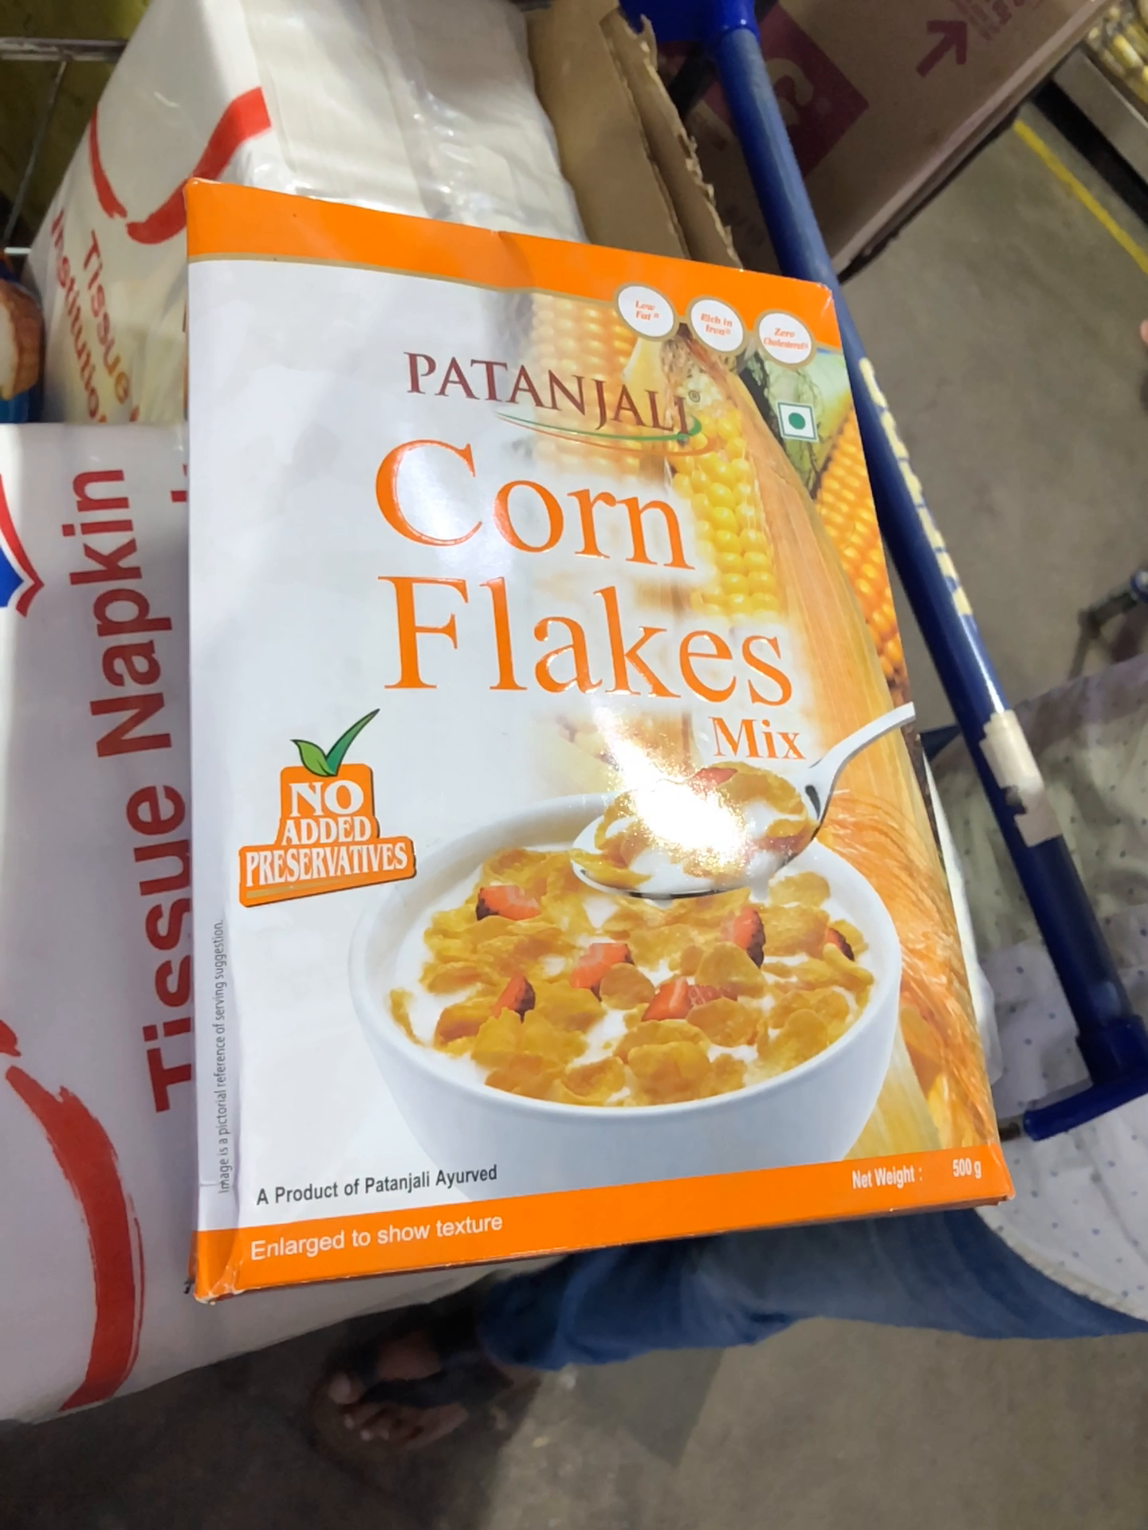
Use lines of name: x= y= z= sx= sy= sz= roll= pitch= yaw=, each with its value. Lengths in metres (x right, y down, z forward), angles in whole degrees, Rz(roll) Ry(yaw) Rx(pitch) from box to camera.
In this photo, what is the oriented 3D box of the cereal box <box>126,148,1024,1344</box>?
cereal box: x=-0.012 y=-0.010 z=0.347 sx=0.200 sy=0.080 sz=0.270 roll=0 pitch=73 yaw=-22
